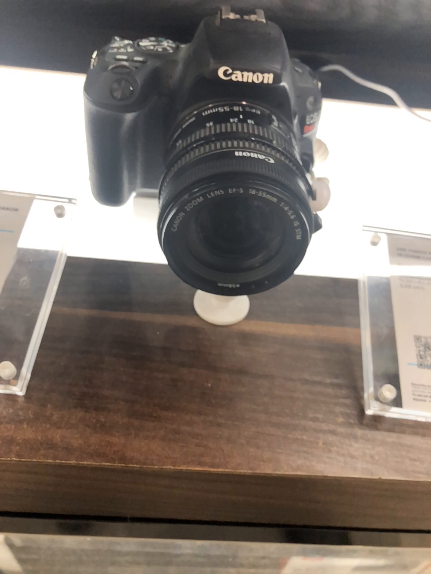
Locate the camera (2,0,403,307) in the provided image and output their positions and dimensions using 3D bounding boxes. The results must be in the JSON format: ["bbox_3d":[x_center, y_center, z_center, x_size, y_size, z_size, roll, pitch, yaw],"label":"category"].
[{"bbox_3d":[-0.006,-0.066,0.221,0.124,0.082,0.119,4,44,-3],"label":"camera"}]
